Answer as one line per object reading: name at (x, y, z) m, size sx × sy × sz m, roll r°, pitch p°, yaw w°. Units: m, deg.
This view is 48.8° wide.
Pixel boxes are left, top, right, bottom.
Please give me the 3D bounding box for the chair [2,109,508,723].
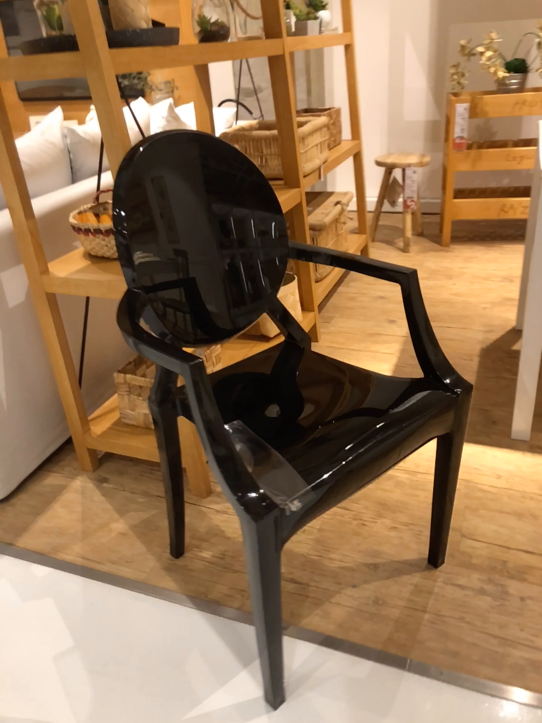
chair at (-0.006, 0.040, 1.146) m, size 0.542 × 0.904 × 0.592 m, roll -27°, pitch 35°, yaw -37°
